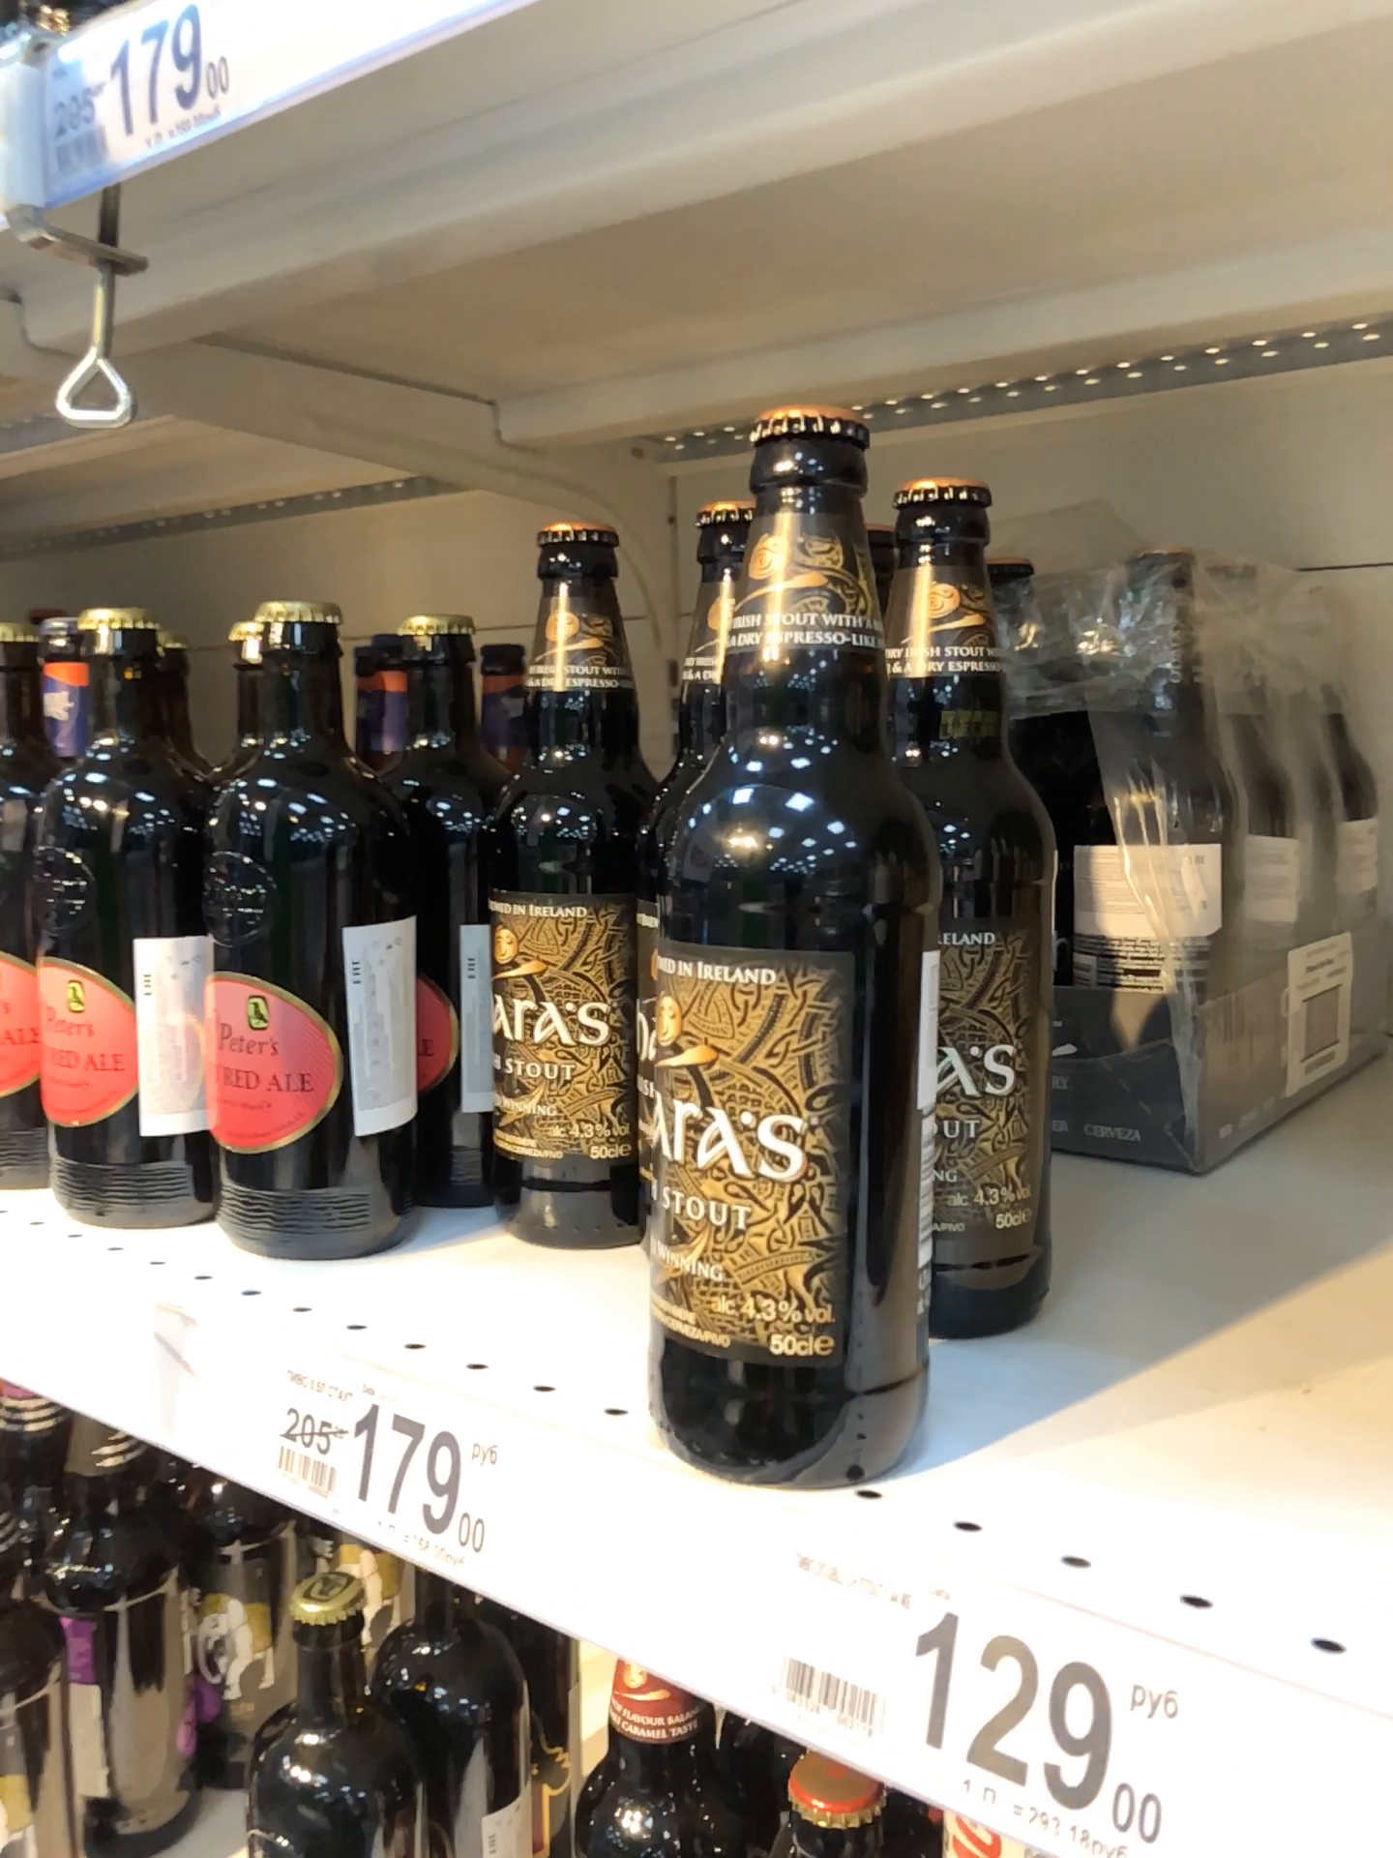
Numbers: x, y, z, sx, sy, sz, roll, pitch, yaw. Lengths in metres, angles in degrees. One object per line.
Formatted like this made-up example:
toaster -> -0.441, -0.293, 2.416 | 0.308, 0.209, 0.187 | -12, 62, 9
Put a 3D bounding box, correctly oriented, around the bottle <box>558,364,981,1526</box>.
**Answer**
bottle -> 0.017, 0.002, 0.361 | 0.070, 0.240, 0.070 | -1, 6, 0
